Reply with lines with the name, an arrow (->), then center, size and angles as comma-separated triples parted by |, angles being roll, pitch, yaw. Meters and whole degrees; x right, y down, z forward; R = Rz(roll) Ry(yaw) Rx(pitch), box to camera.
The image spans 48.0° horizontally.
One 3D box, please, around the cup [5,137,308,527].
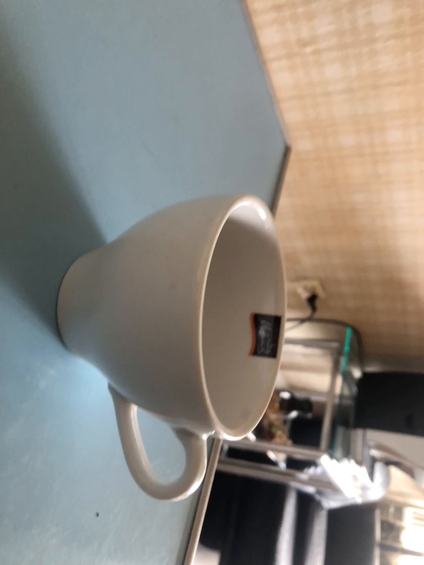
cup -> -0.008, 0.020, 0.183 | 0.097, 0.057, 0.106 | -5, 95, -64
